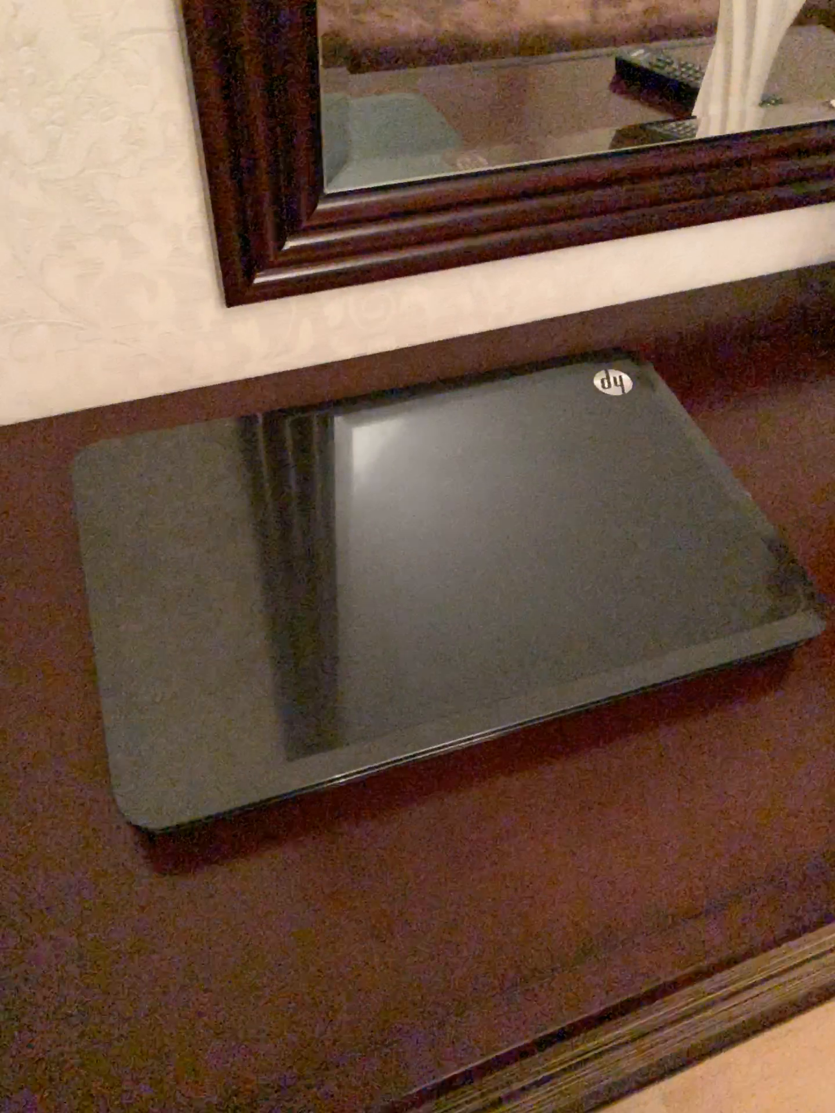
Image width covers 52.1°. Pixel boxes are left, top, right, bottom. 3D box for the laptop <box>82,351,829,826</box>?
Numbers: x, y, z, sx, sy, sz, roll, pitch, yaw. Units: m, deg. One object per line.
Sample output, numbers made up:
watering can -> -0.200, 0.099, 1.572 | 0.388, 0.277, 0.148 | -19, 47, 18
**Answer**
laptop -> 0.012, -0.013, 0.456 | 0.344, 0.003, 0.223 | -13, 54, -15
